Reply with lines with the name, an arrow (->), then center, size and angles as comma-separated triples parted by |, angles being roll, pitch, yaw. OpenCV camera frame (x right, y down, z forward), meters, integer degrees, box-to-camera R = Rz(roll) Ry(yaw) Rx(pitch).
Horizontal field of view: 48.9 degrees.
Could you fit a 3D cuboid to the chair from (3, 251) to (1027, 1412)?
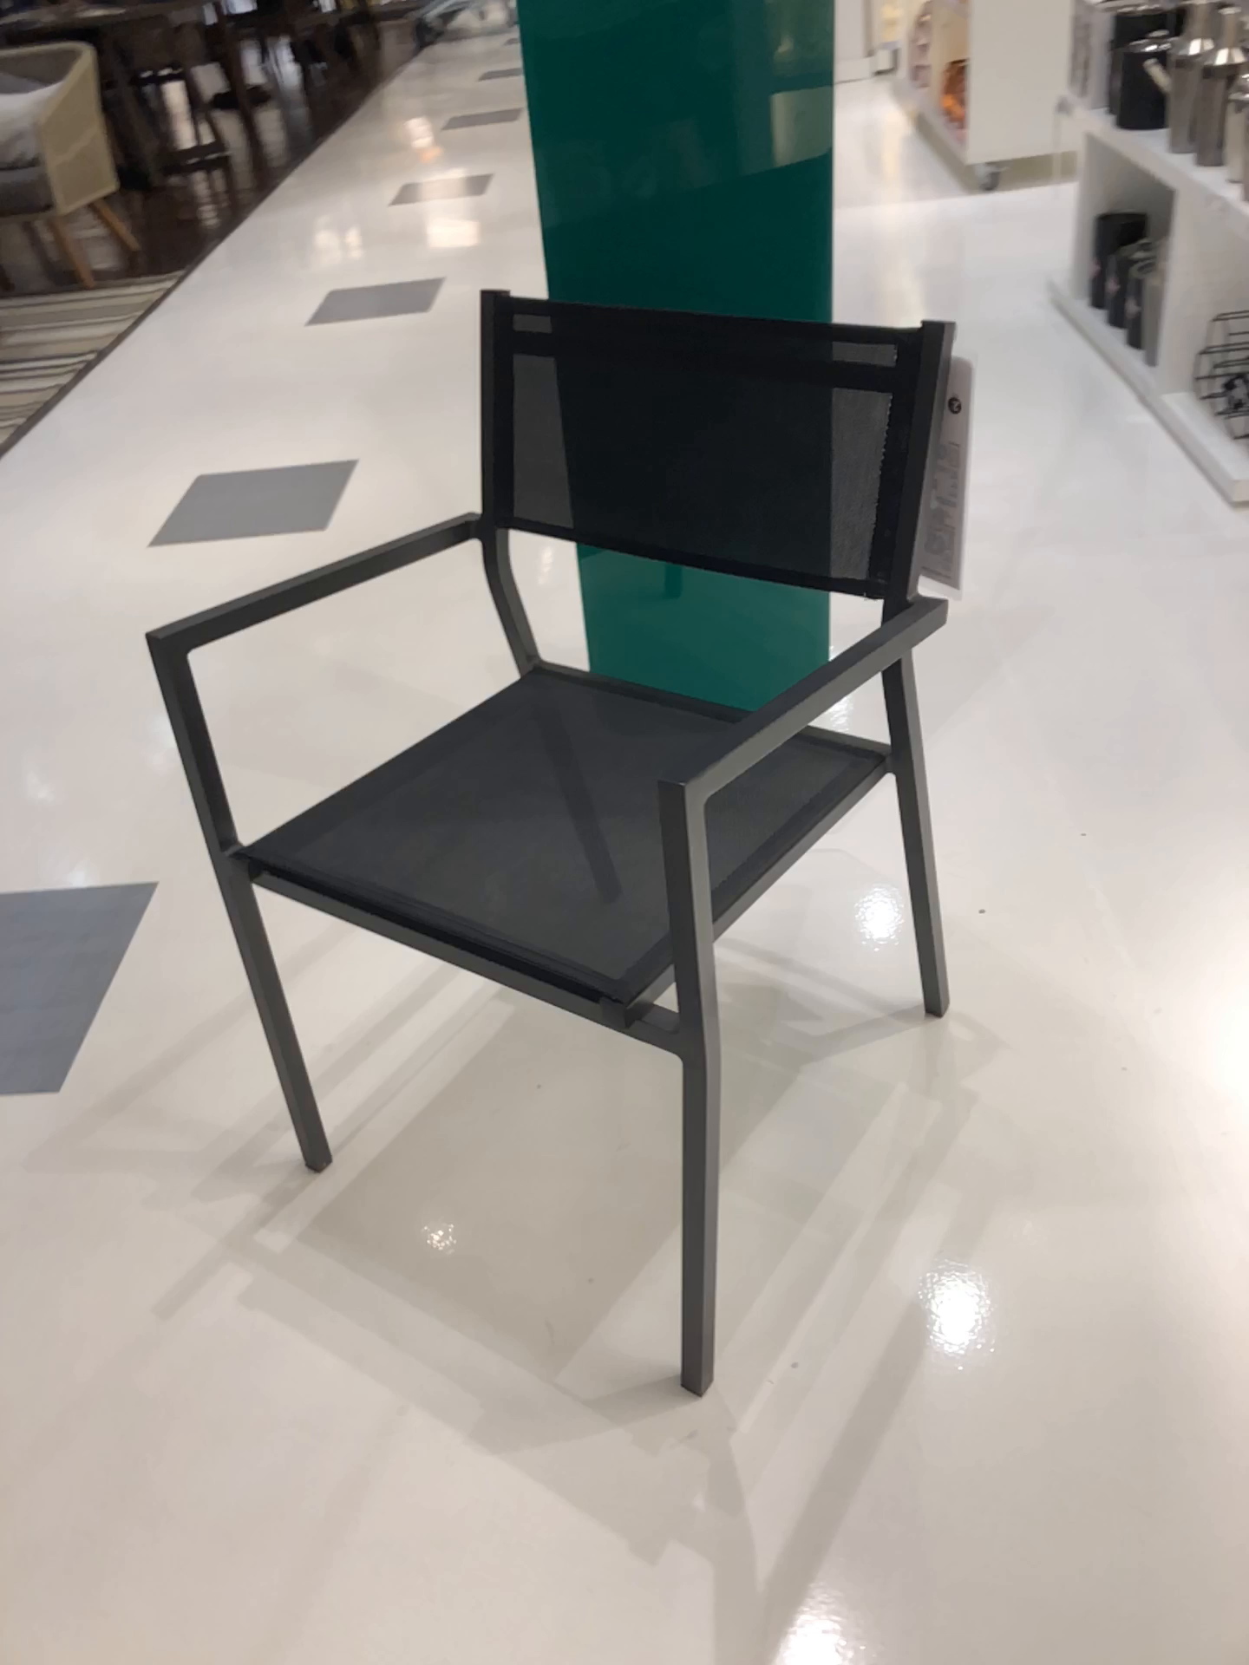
chair -> -0.025, -0.047, 1.319 | 0.572, 0.794, 0.603 | 18, 43, 32
